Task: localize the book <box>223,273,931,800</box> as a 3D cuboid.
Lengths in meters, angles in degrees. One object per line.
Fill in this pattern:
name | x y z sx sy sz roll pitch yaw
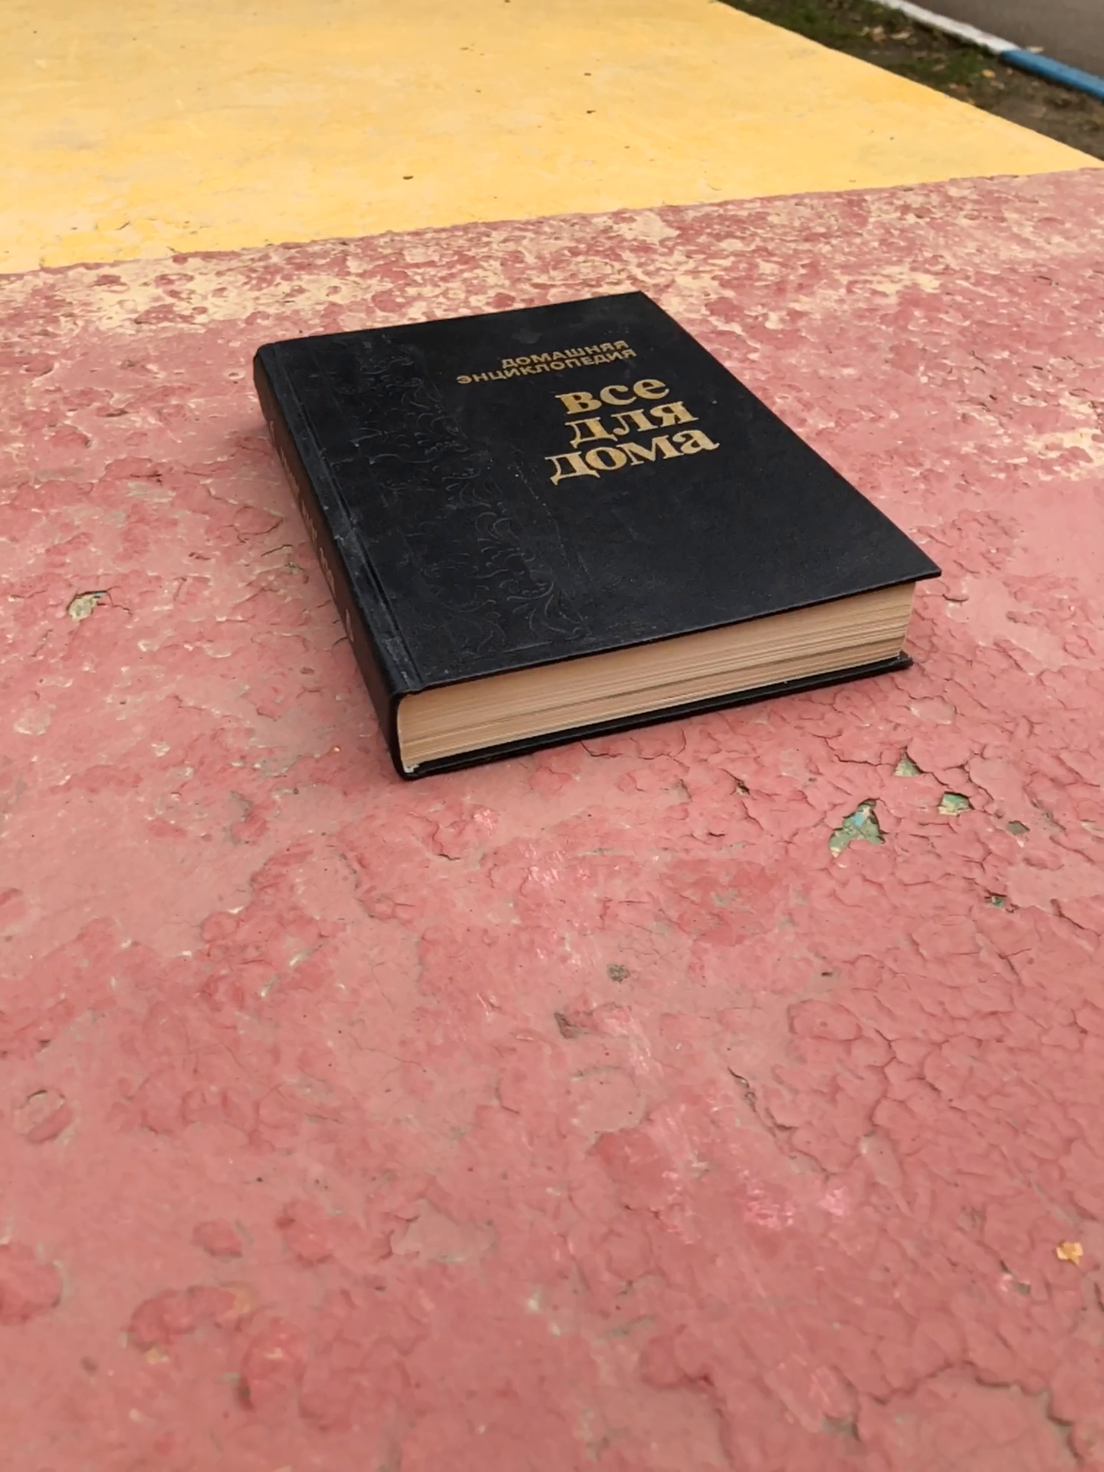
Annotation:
book | -0.009 -0.080 0.381 0.150 0.040 0.211 -13 42 -15
